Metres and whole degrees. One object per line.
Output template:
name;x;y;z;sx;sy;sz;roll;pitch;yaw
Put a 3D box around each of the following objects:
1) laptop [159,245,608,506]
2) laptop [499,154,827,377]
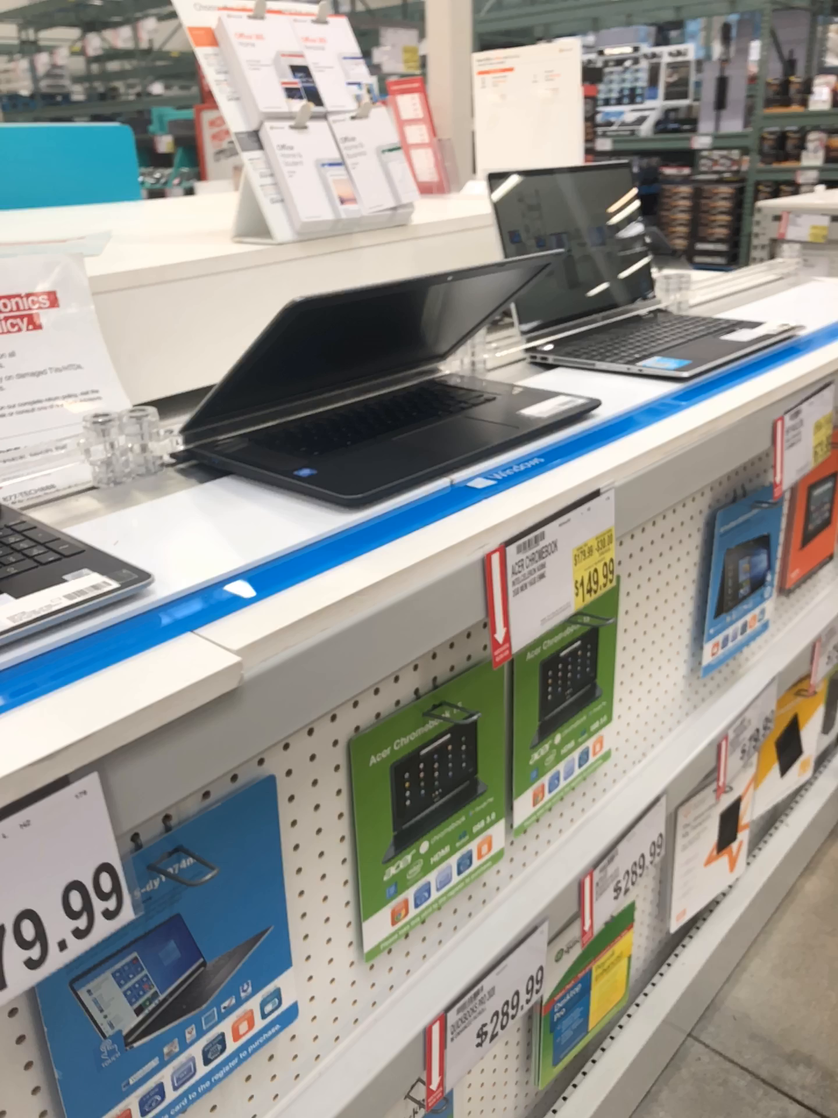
laptop;-0.017;-0.196;0.875;0.219;0.136;0.365;21;33;38
laptop;0.314;-0.405;1.222;0.318;0.208;0.291;-24;32;-37
